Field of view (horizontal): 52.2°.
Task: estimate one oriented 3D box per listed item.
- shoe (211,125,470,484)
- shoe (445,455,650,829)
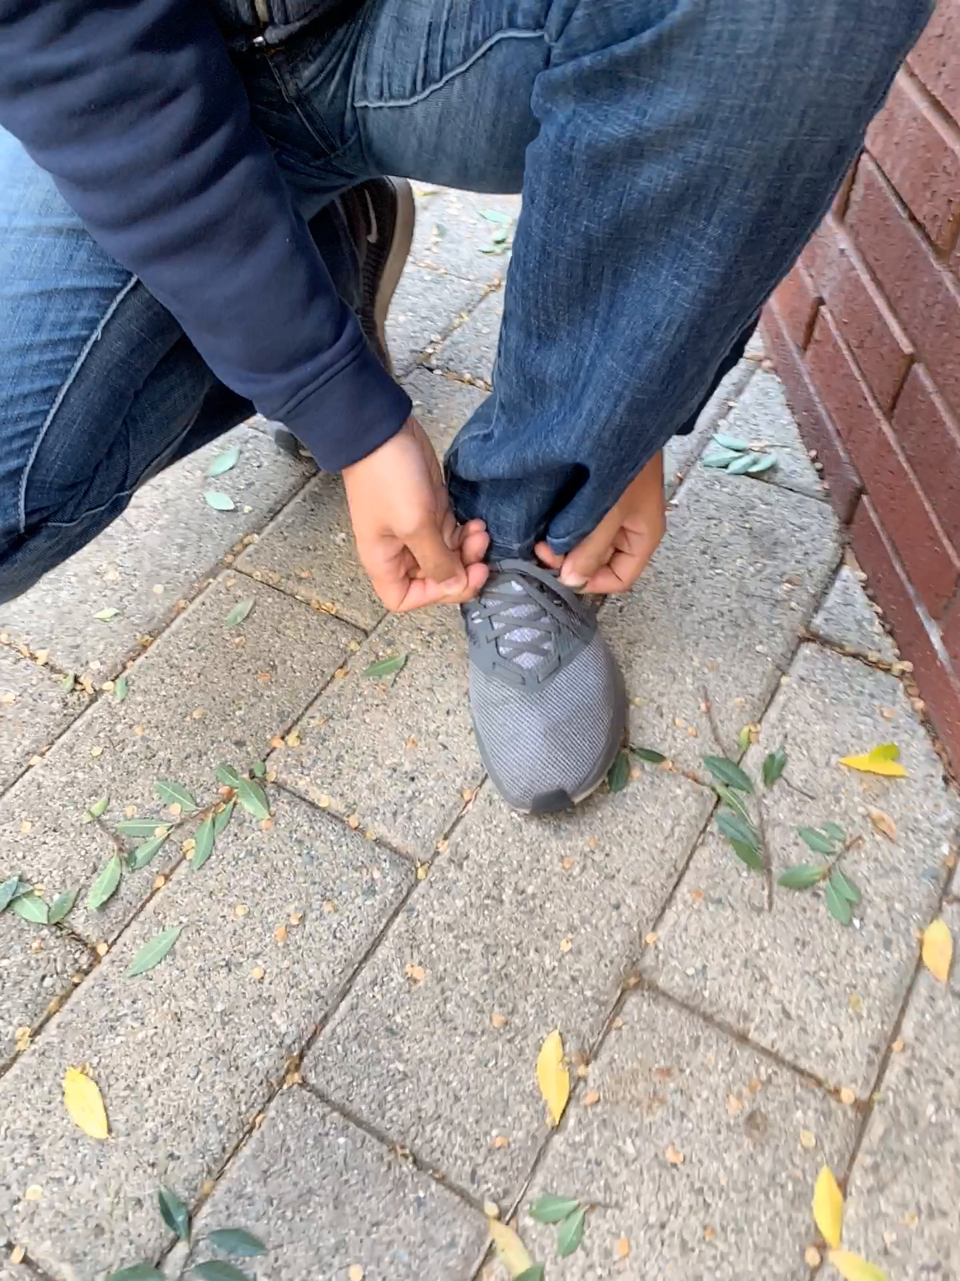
[{"bbox_3d":[-0.131,-0.296,0.895,0.116,0.274,0.098,32,19,26],"label":"shoe"},{"bbox_3d":[0.042,-0.009,0.745,0.110,0.083,0.280,-6,53,-2],"label":"shoe"}]
